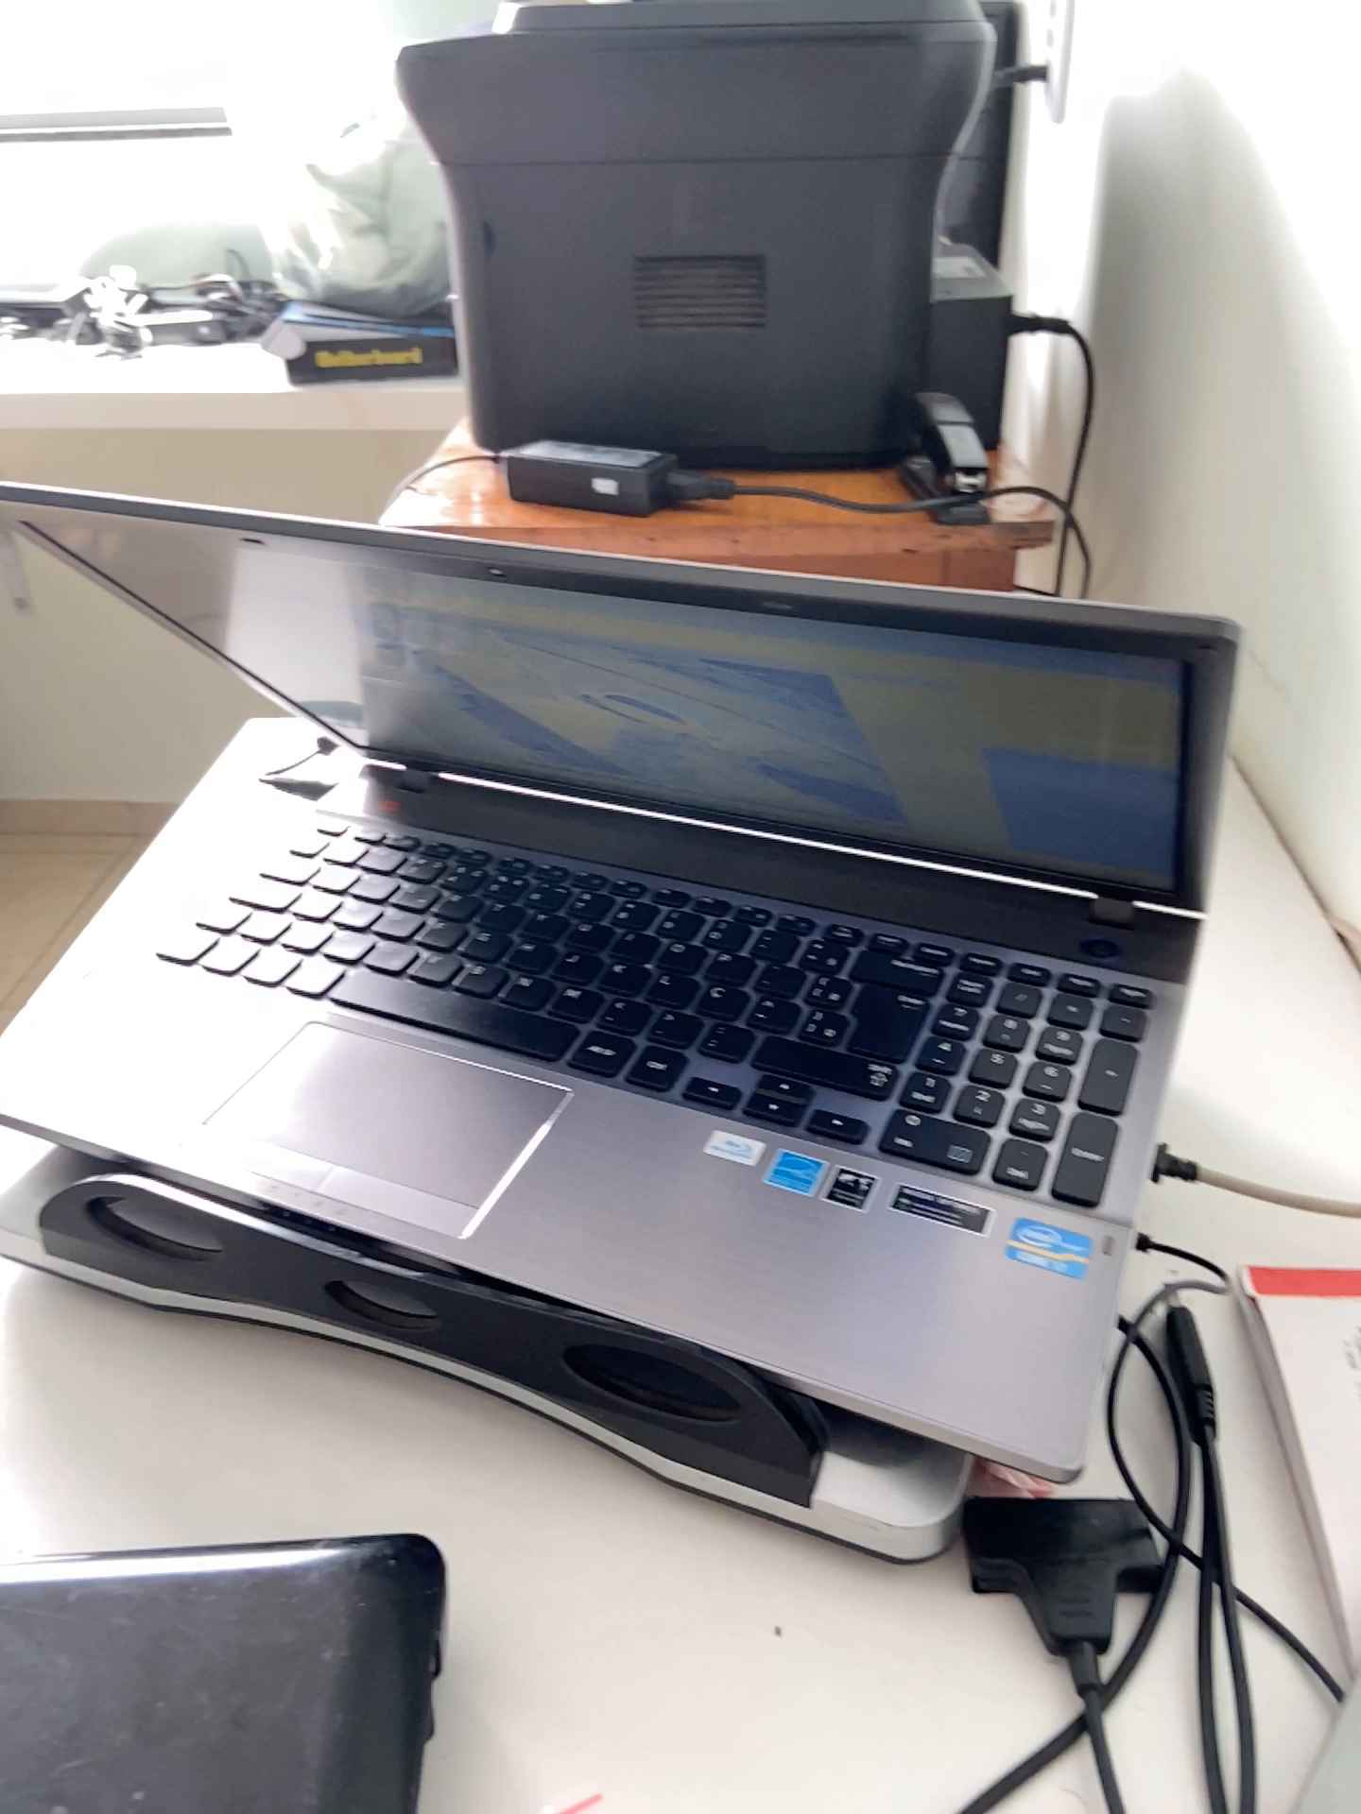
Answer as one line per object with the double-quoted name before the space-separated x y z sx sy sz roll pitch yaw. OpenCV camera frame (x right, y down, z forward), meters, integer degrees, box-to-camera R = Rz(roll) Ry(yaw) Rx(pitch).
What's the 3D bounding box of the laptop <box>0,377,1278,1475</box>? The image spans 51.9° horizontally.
"laptop" -0.029 -0.036 0.435 0.359 0.164 0.231 12 37 21
